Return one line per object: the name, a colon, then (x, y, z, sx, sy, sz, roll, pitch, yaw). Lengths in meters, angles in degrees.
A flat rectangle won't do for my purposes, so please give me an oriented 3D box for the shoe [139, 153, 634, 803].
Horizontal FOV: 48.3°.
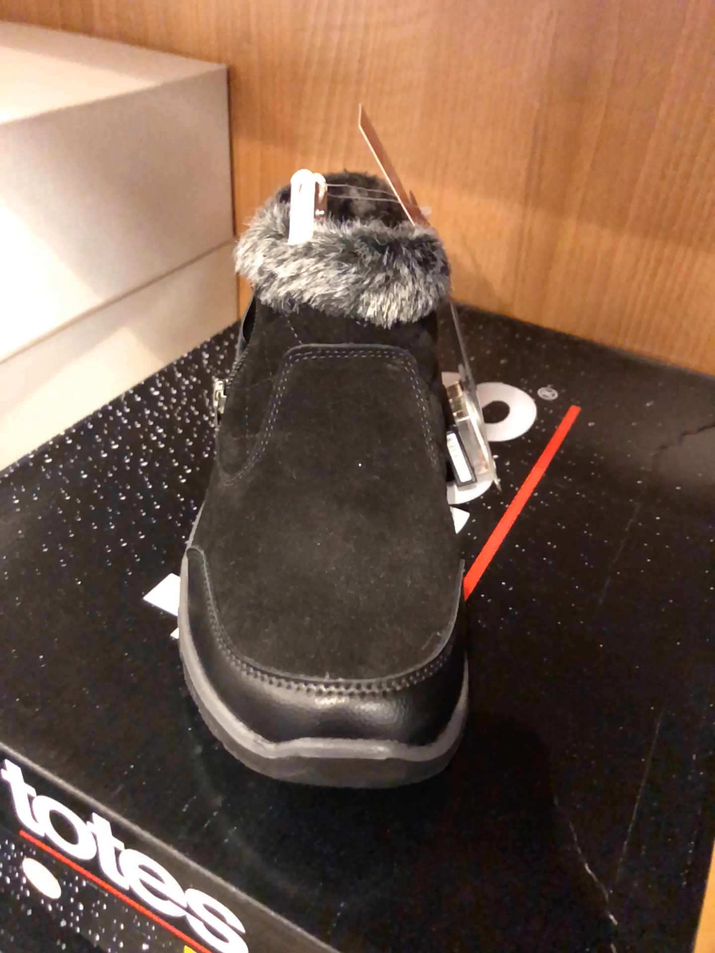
shoe: (-0.003, -0.024, 0.301, 0.105, 0.112, 0.250, 2, 37, -5)
